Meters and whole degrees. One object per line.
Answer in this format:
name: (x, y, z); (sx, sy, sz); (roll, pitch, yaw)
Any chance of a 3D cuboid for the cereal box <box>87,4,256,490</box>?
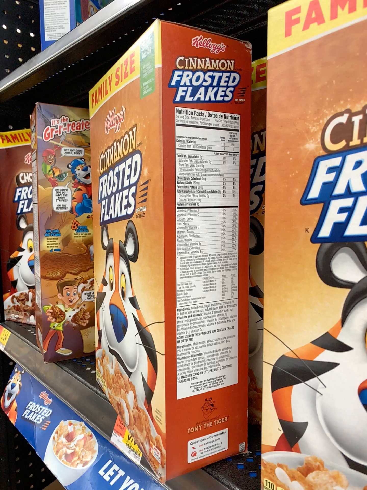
cereal box: (-0.025, 0.009, 0.357); (0.080, 0.340, 0.200); (-2, 4, -26)
